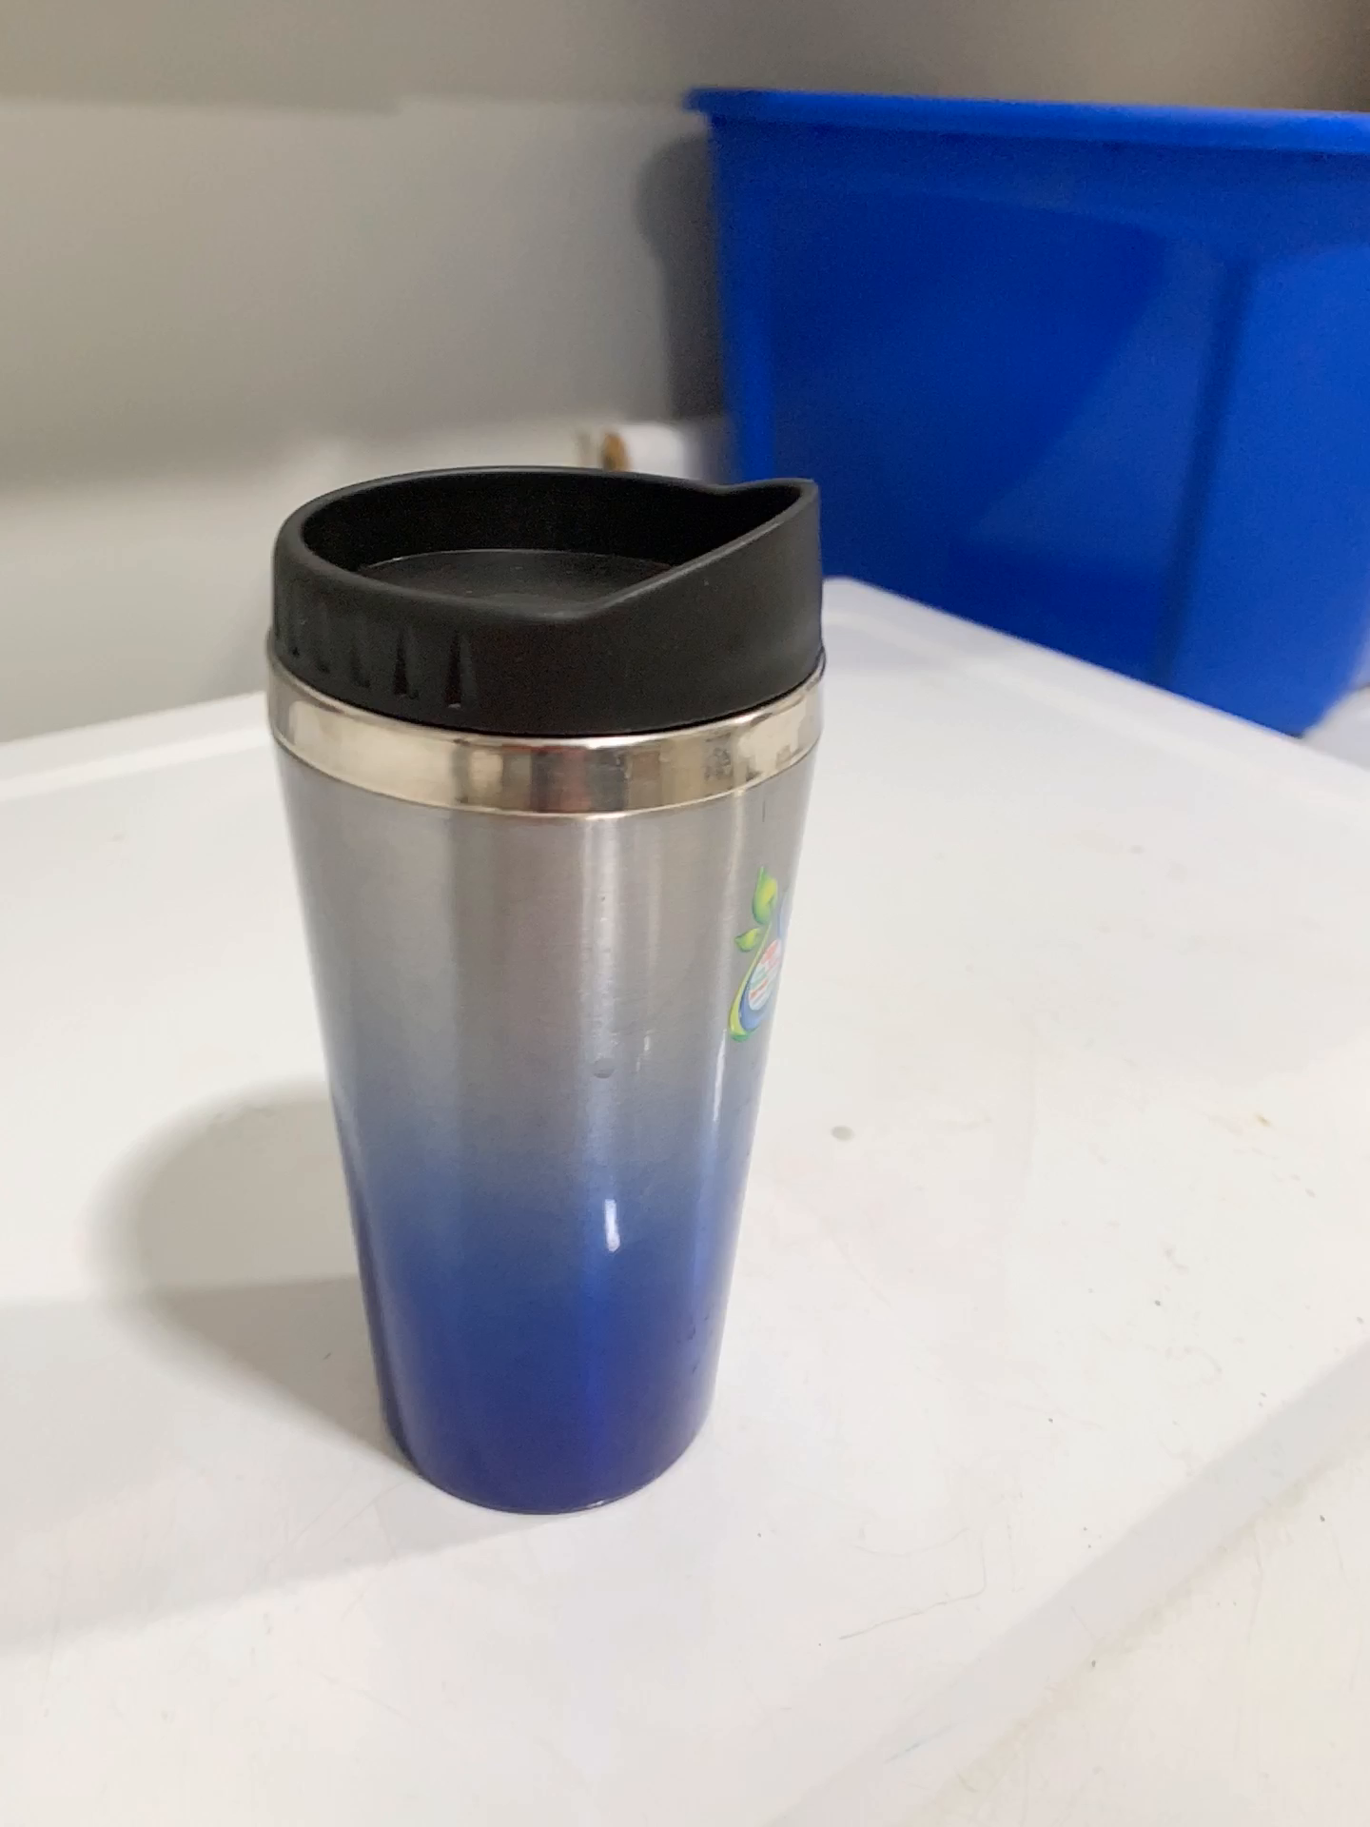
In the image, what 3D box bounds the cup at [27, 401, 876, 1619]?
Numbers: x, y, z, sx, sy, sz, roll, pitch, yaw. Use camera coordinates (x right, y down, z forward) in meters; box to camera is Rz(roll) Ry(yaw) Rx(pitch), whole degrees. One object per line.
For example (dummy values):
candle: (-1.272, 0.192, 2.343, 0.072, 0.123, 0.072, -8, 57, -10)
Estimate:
cup: (-0.030, 0.013, 0.241, 0.089, 0.171, 0.080, 13, 30, 20)
